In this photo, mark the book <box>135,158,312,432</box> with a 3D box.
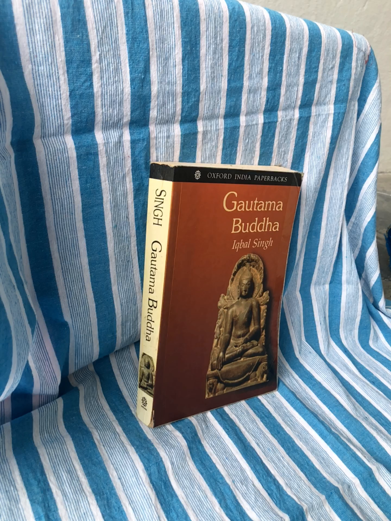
[{"bbox_3d":[0.023,0.024,0.371,0.141,0.209,0.040,-5,16,-32],"label":"book"}]
